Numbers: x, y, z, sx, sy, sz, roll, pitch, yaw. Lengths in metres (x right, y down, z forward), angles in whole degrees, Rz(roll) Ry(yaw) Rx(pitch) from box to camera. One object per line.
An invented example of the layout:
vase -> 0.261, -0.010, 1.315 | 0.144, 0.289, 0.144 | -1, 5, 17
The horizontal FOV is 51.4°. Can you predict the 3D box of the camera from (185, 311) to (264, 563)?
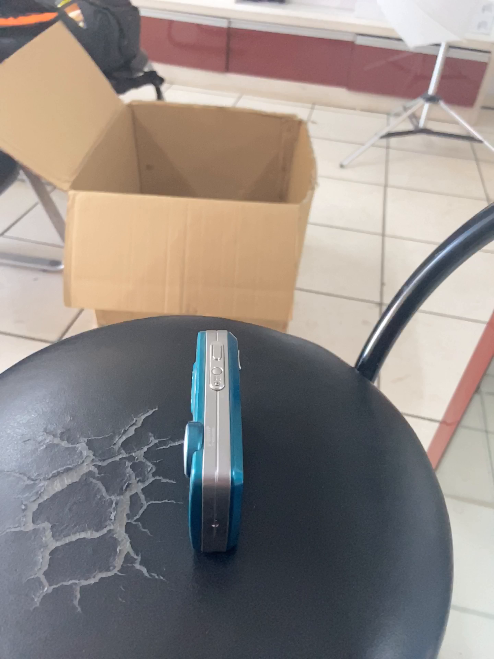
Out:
camera -> -0.014, 0.049, 0.255 | 0.030, 0.070, 0.101 | 0, 41, -5
